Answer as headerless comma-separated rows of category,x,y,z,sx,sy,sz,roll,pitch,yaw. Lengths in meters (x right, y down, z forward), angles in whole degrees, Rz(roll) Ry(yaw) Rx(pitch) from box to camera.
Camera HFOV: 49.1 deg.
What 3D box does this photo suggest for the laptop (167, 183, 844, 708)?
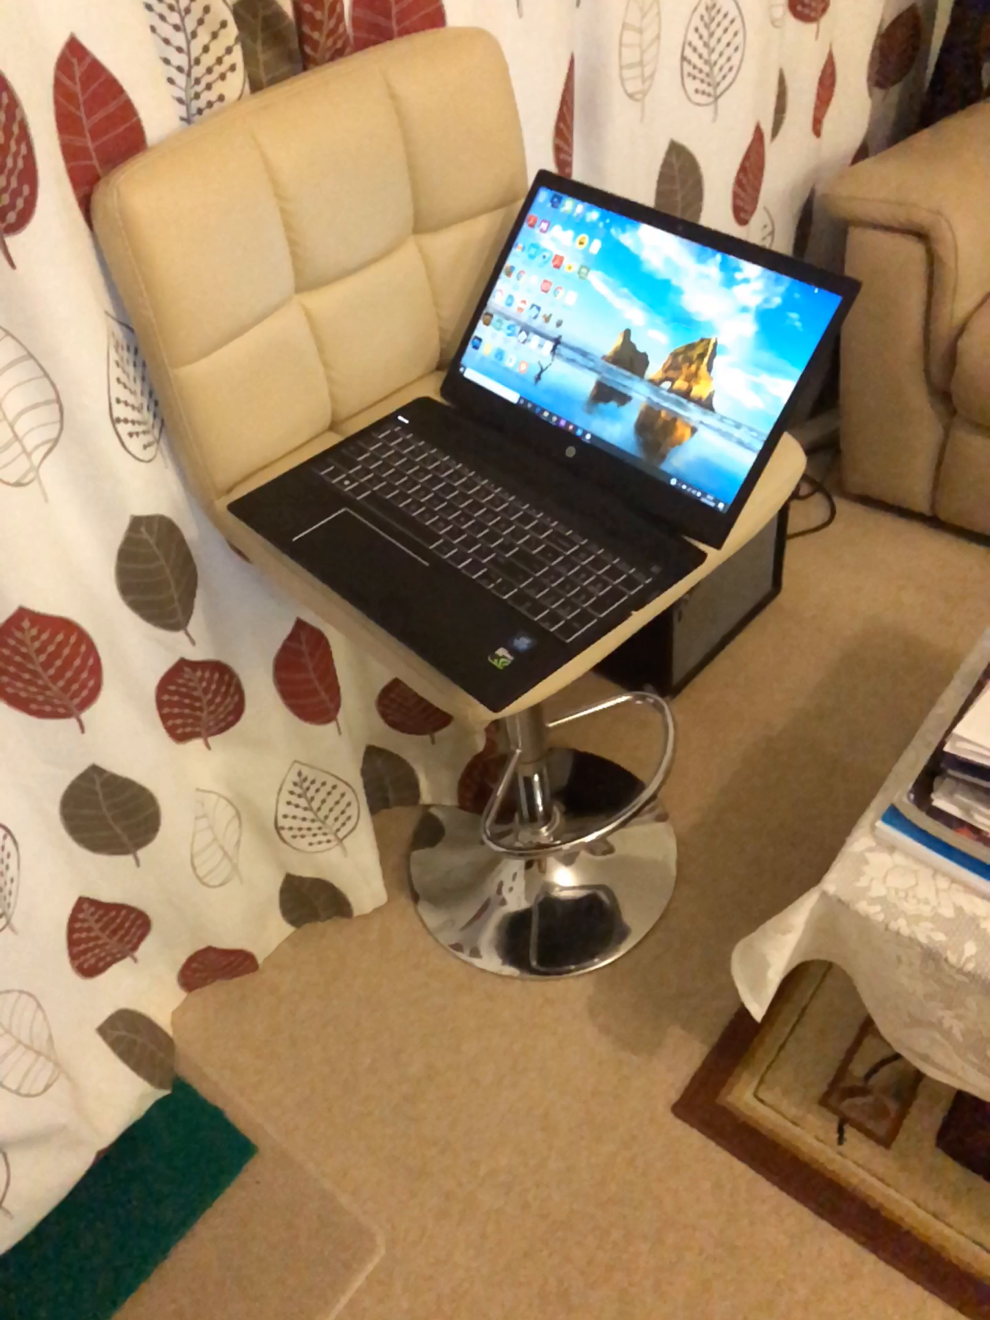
laptop,0.016,-0.210,0.901,0.401,0.159,0.349,-35,52,-27
